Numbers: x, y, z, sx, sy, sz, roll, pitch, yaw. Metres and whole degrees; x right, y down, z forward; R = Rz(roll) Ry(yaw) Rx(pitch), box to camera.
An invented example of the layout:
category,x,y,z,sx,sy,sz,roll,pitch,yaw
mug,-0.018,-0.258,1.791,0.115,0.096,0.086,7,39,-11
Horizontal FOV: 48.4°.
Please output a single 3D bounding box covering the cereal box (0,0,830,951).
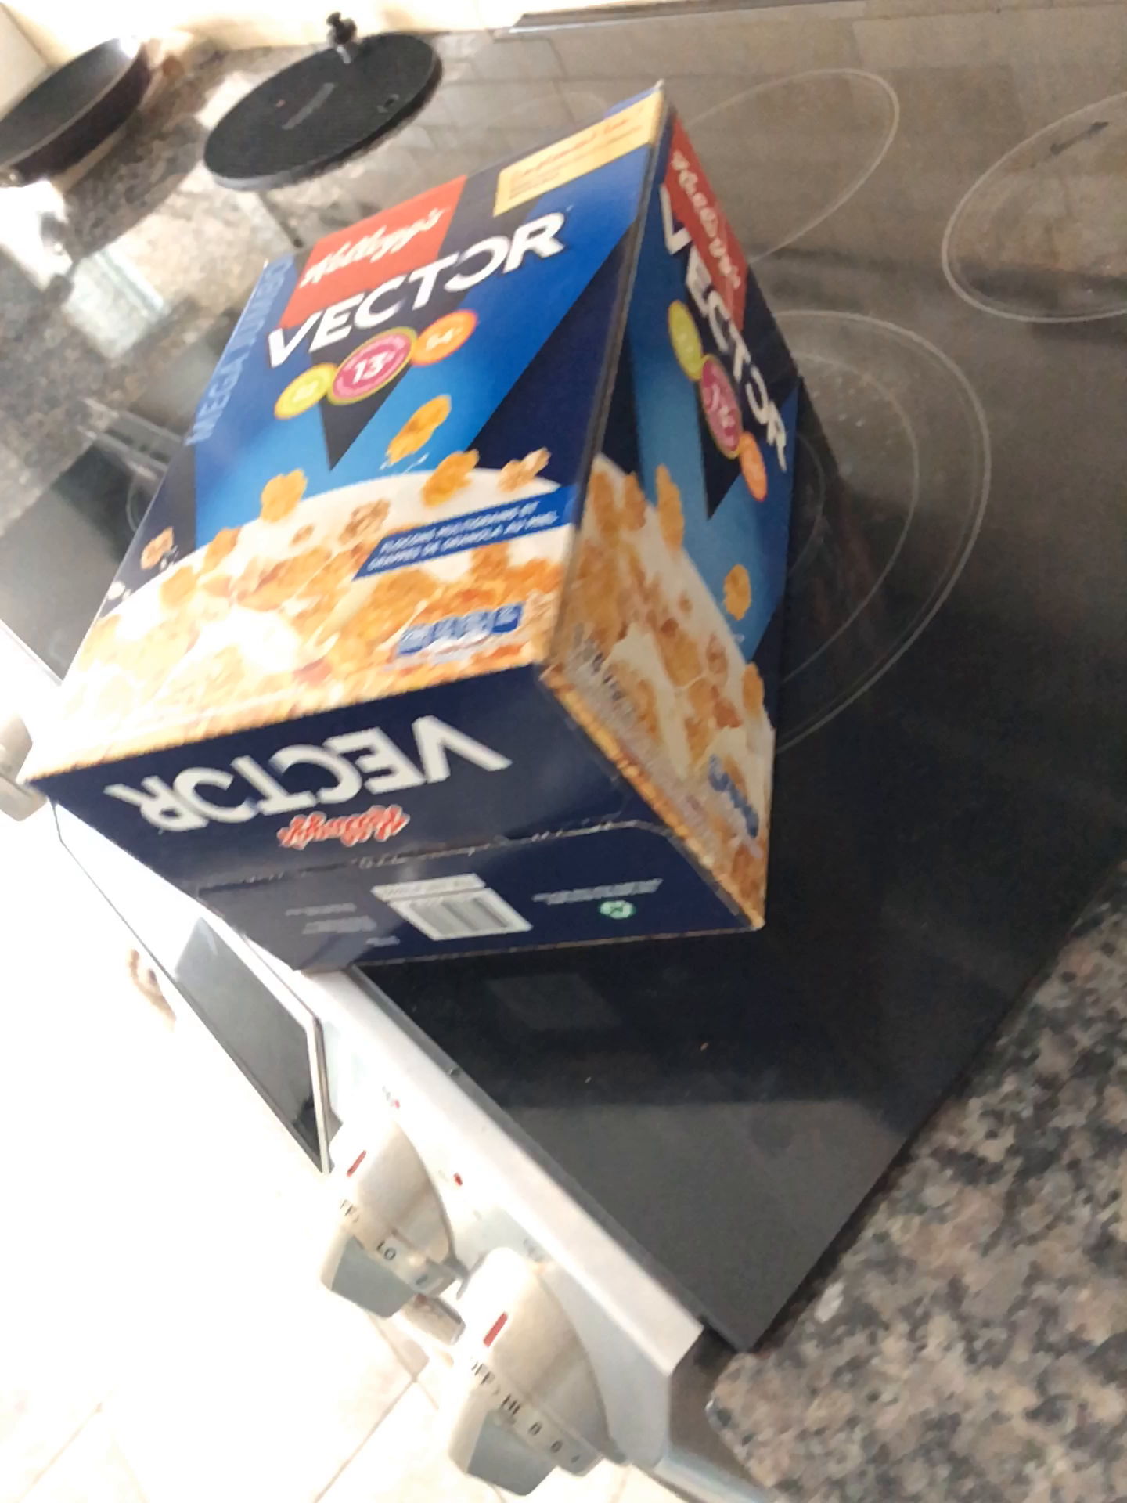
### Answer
category,x,y,z,sx,sy,sz,roll,pitch,yaw
cereal box,-0.032,-0.111,0.479,0.221,0.169,0.310,-10,54,27
